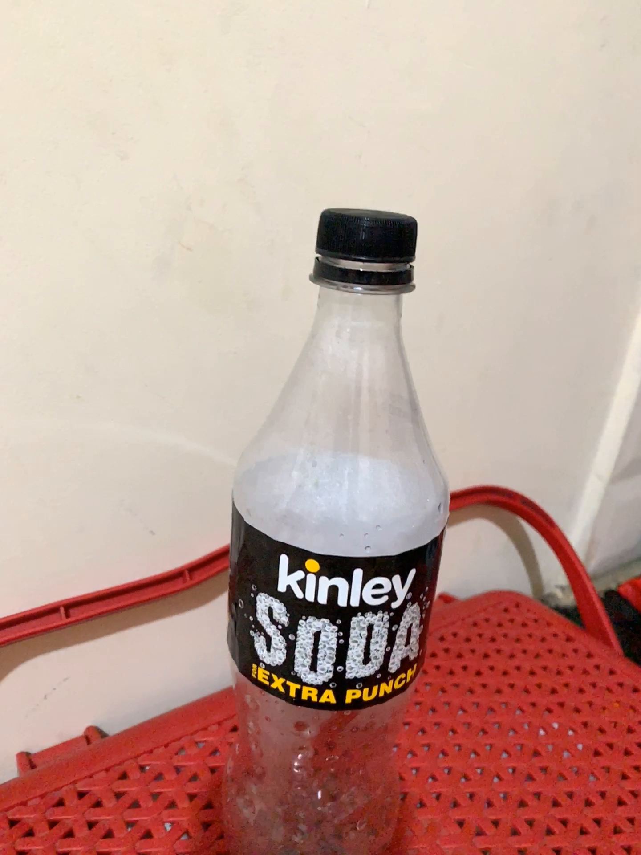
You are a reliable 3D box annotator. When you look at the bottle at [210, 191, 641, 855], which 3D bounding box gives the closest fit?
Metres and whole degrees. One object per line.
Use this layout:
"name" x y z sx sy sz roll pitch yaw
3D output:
"bottle" 0.012 0.054 0.211 0.080 0.228 0.071 4 24 -6
